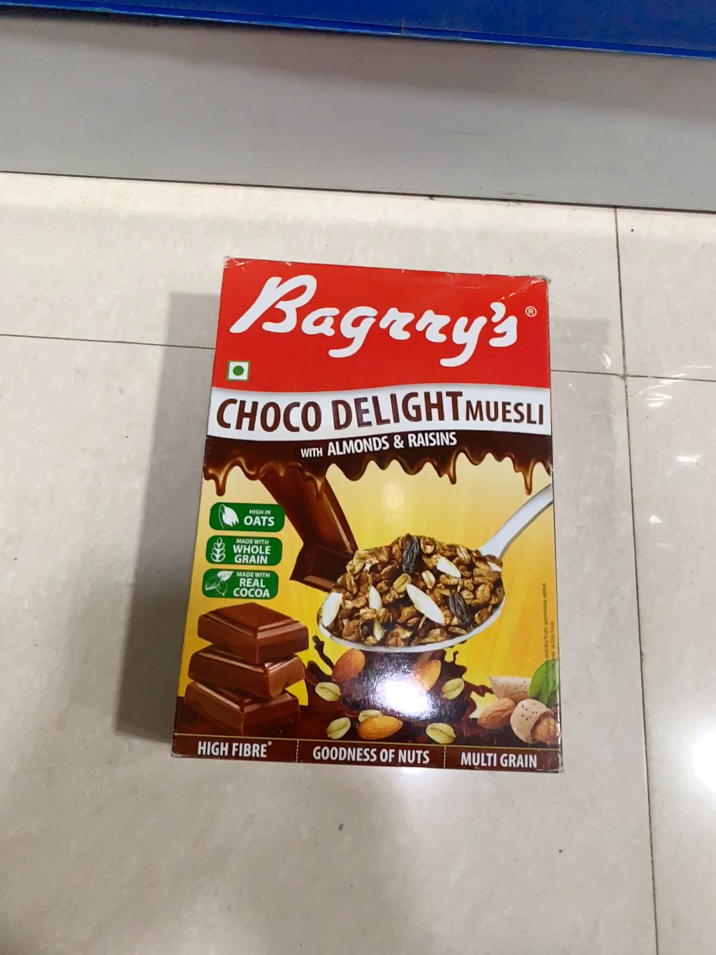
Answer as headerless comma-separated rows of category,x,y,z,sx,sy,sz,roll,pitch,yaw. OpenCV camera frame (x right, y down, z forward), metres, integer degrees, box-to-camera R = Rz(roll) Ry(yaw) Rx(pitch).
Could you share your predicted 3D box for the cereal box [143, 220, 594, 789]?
cereal box,0.010,0.010,0.403,0.200,0.080,0.280,3,73,-2
